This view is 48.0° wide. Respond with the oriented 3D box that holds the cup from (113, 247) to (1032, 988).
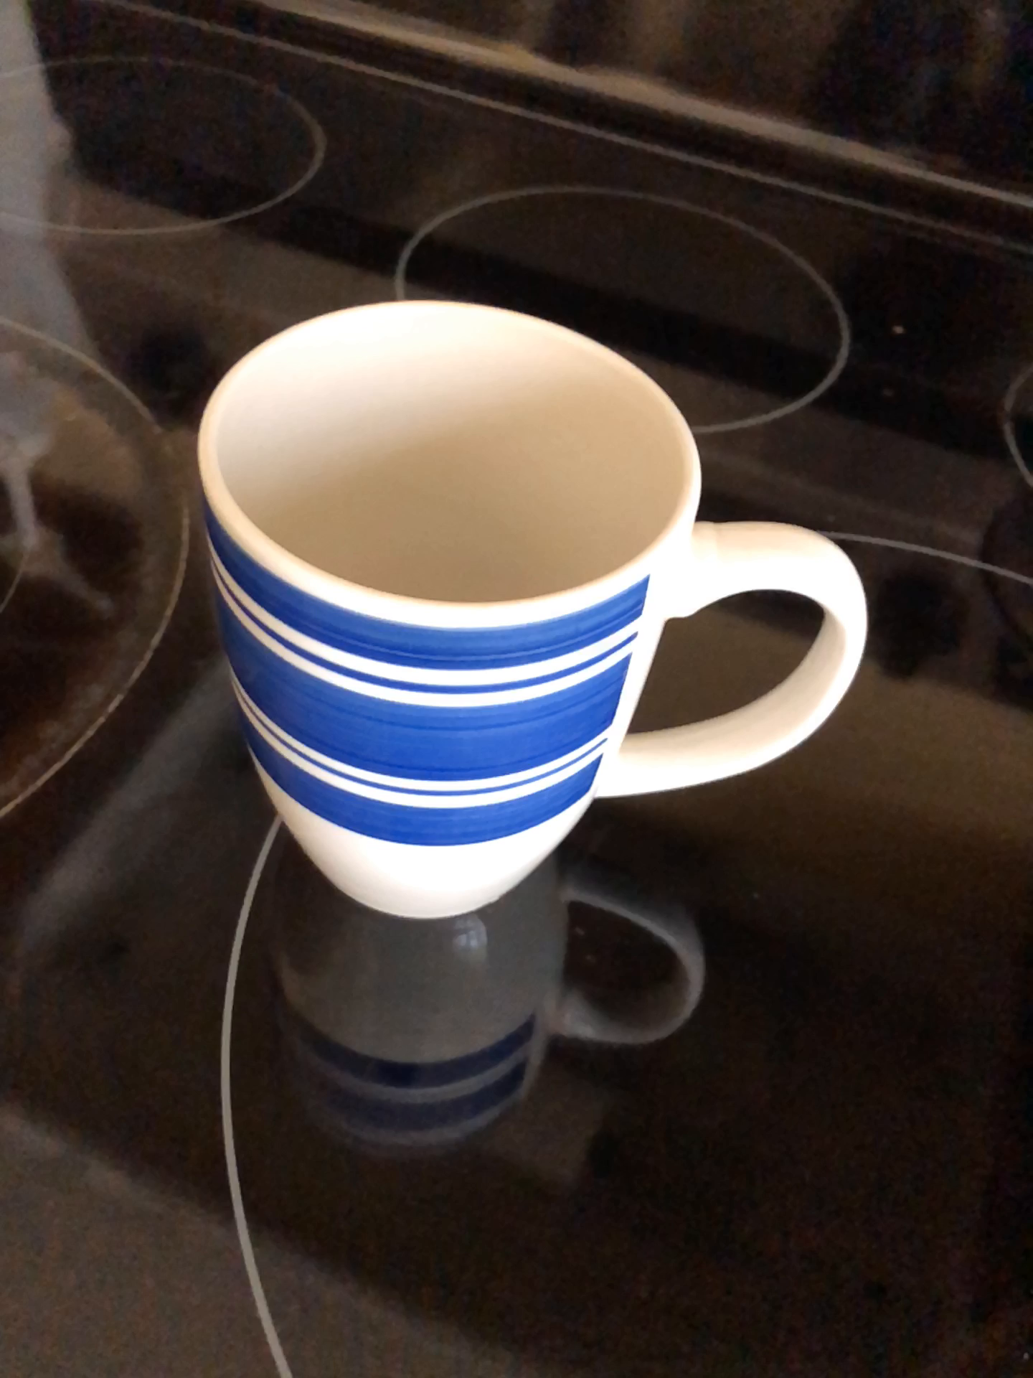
[{"bbox_3d":[0.007,-0.009,0.204,0.120,0.090,0.080,5,48,-3],"label":"cup"}]
